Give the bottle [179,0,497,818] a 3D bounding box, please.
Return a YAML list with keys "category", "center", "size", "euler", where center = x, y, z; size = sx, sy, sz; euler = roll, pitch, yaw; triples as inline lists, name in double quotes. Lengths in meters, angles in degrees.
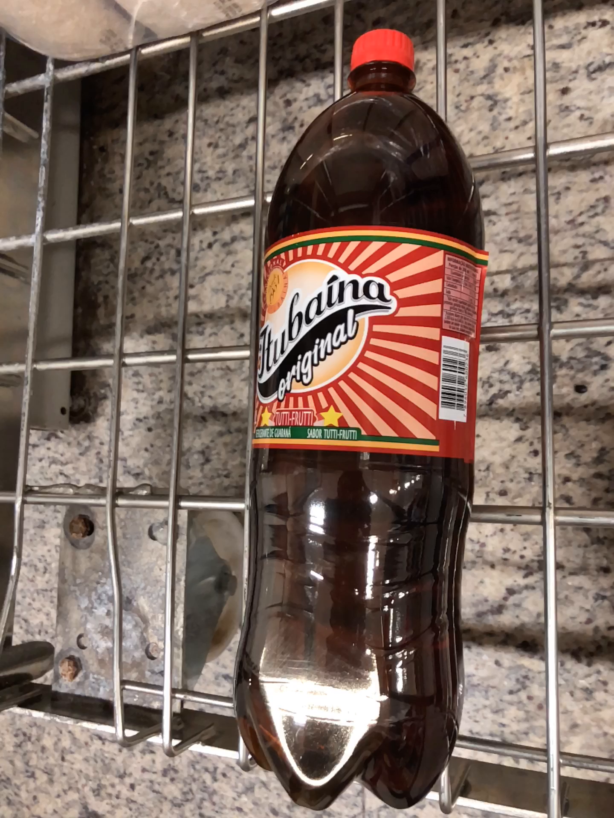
- category: "bottle"
  center: [0.016, -0.004, 0.283]
  size: [0.110, 0.070, 0.320]
  euler: [-1, 87, 25]
